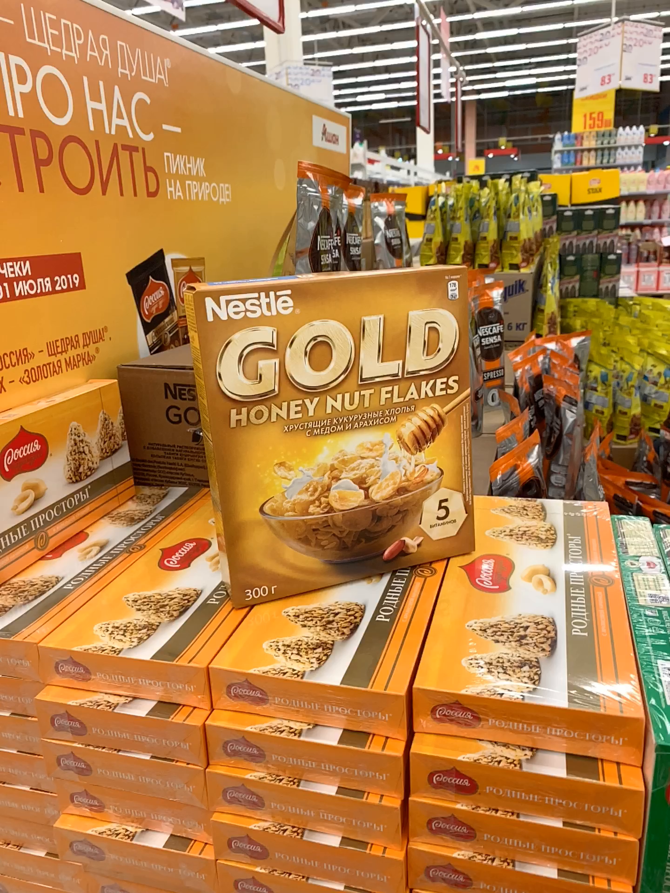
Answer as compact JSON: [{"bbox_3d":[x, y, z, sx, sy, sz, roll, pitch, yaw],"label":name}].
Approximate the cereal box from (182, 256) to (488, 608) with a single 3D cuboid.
[{"bbox_3d":[0.007,-0.018,0.501,0.200,0.219,0.060,-9,18,-19],"label":"cereal box"}]
